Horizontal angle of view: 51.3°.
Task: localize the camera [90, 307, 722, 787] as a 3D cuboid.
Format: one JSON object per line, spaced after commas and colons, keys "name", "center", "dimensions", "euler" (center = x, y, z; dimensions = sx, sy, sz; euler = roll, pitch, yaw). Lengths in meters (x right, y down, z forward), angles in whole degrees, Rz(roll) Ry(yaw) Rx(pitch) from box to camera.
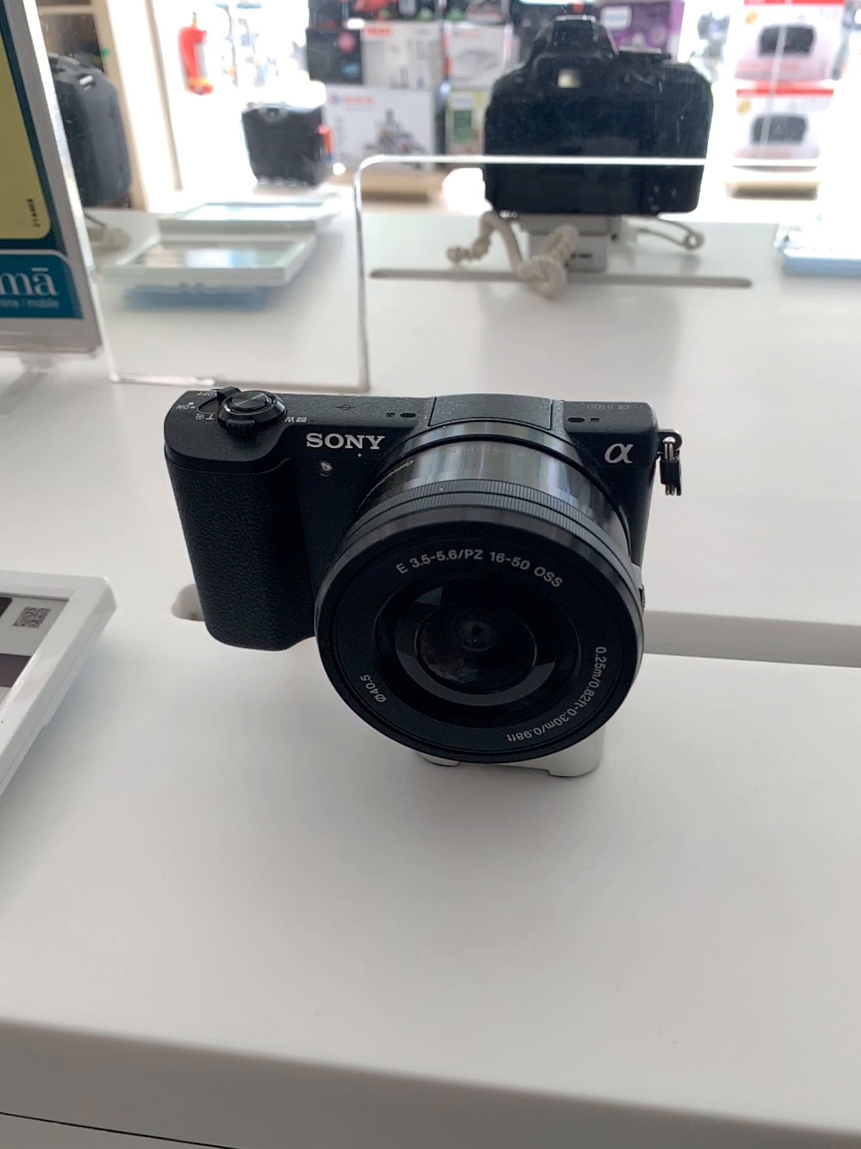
{"name": "camera", "center": [-0.001, -0.008, 0.201], "dimensions": [0.110, 0.080, 0.060], "euler": [4, 36, 8]}
